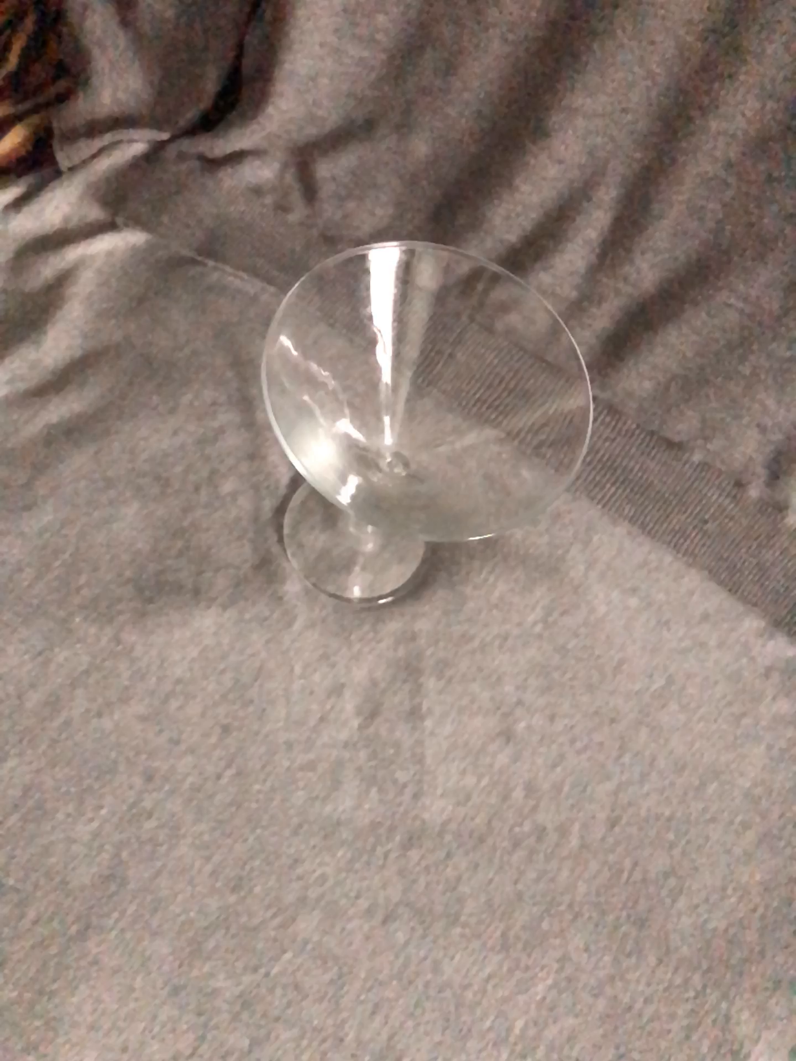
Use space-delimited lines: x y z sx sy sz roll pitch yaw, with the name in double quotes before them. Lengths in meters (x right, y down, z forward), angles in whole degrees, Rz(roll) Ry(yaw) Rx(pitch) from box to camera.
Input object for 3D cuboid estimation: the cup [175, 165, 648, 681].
"cup" -0.007 -0.029 0.360 0.113 0.157 0.112 4 72 -12
